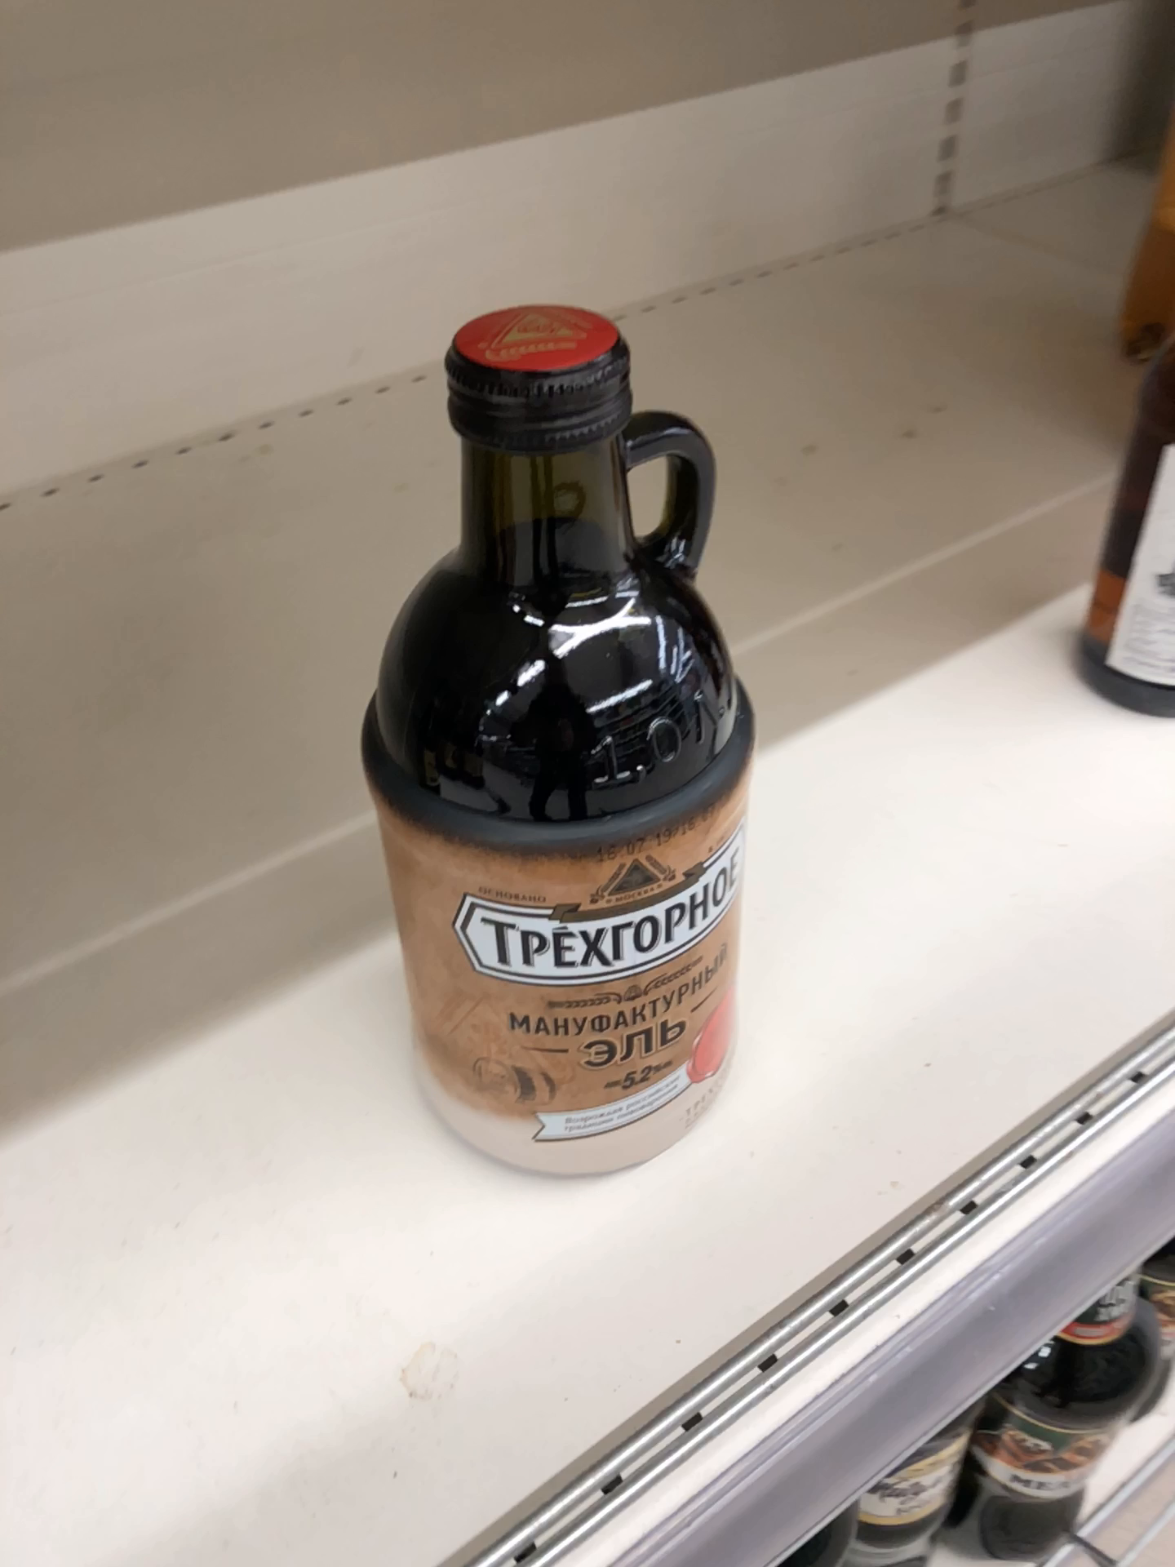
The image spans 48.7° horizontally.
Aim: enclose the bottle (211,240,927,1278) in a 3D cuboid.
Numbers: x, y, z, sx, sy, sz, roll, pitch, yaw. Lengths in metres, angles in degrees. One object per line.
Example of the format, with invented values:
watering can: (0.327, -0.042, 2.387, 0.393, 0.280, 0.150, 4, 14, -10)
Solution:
bottle: (-0.005, 0.003, 0.328, 0.110, 0.225, 0.100, -1, 41, 1)
